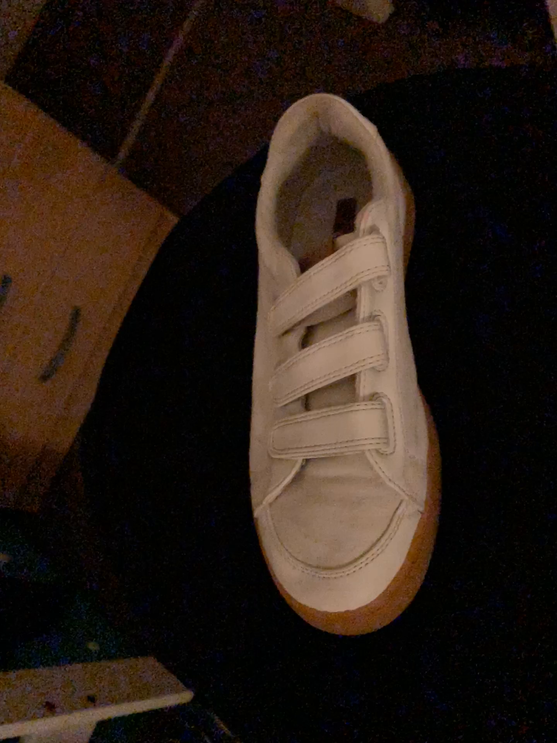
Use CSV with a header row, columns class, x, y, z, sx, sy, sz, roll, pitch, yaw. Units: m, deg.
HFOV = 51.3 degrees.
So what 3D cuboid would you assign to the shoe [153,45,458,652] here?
class,x,y,z,sx,sy,sz,roll,pitch,yaw
shoe,0.016,-0.012,0.279,0.096,0.079,0.255,-12,66,31
